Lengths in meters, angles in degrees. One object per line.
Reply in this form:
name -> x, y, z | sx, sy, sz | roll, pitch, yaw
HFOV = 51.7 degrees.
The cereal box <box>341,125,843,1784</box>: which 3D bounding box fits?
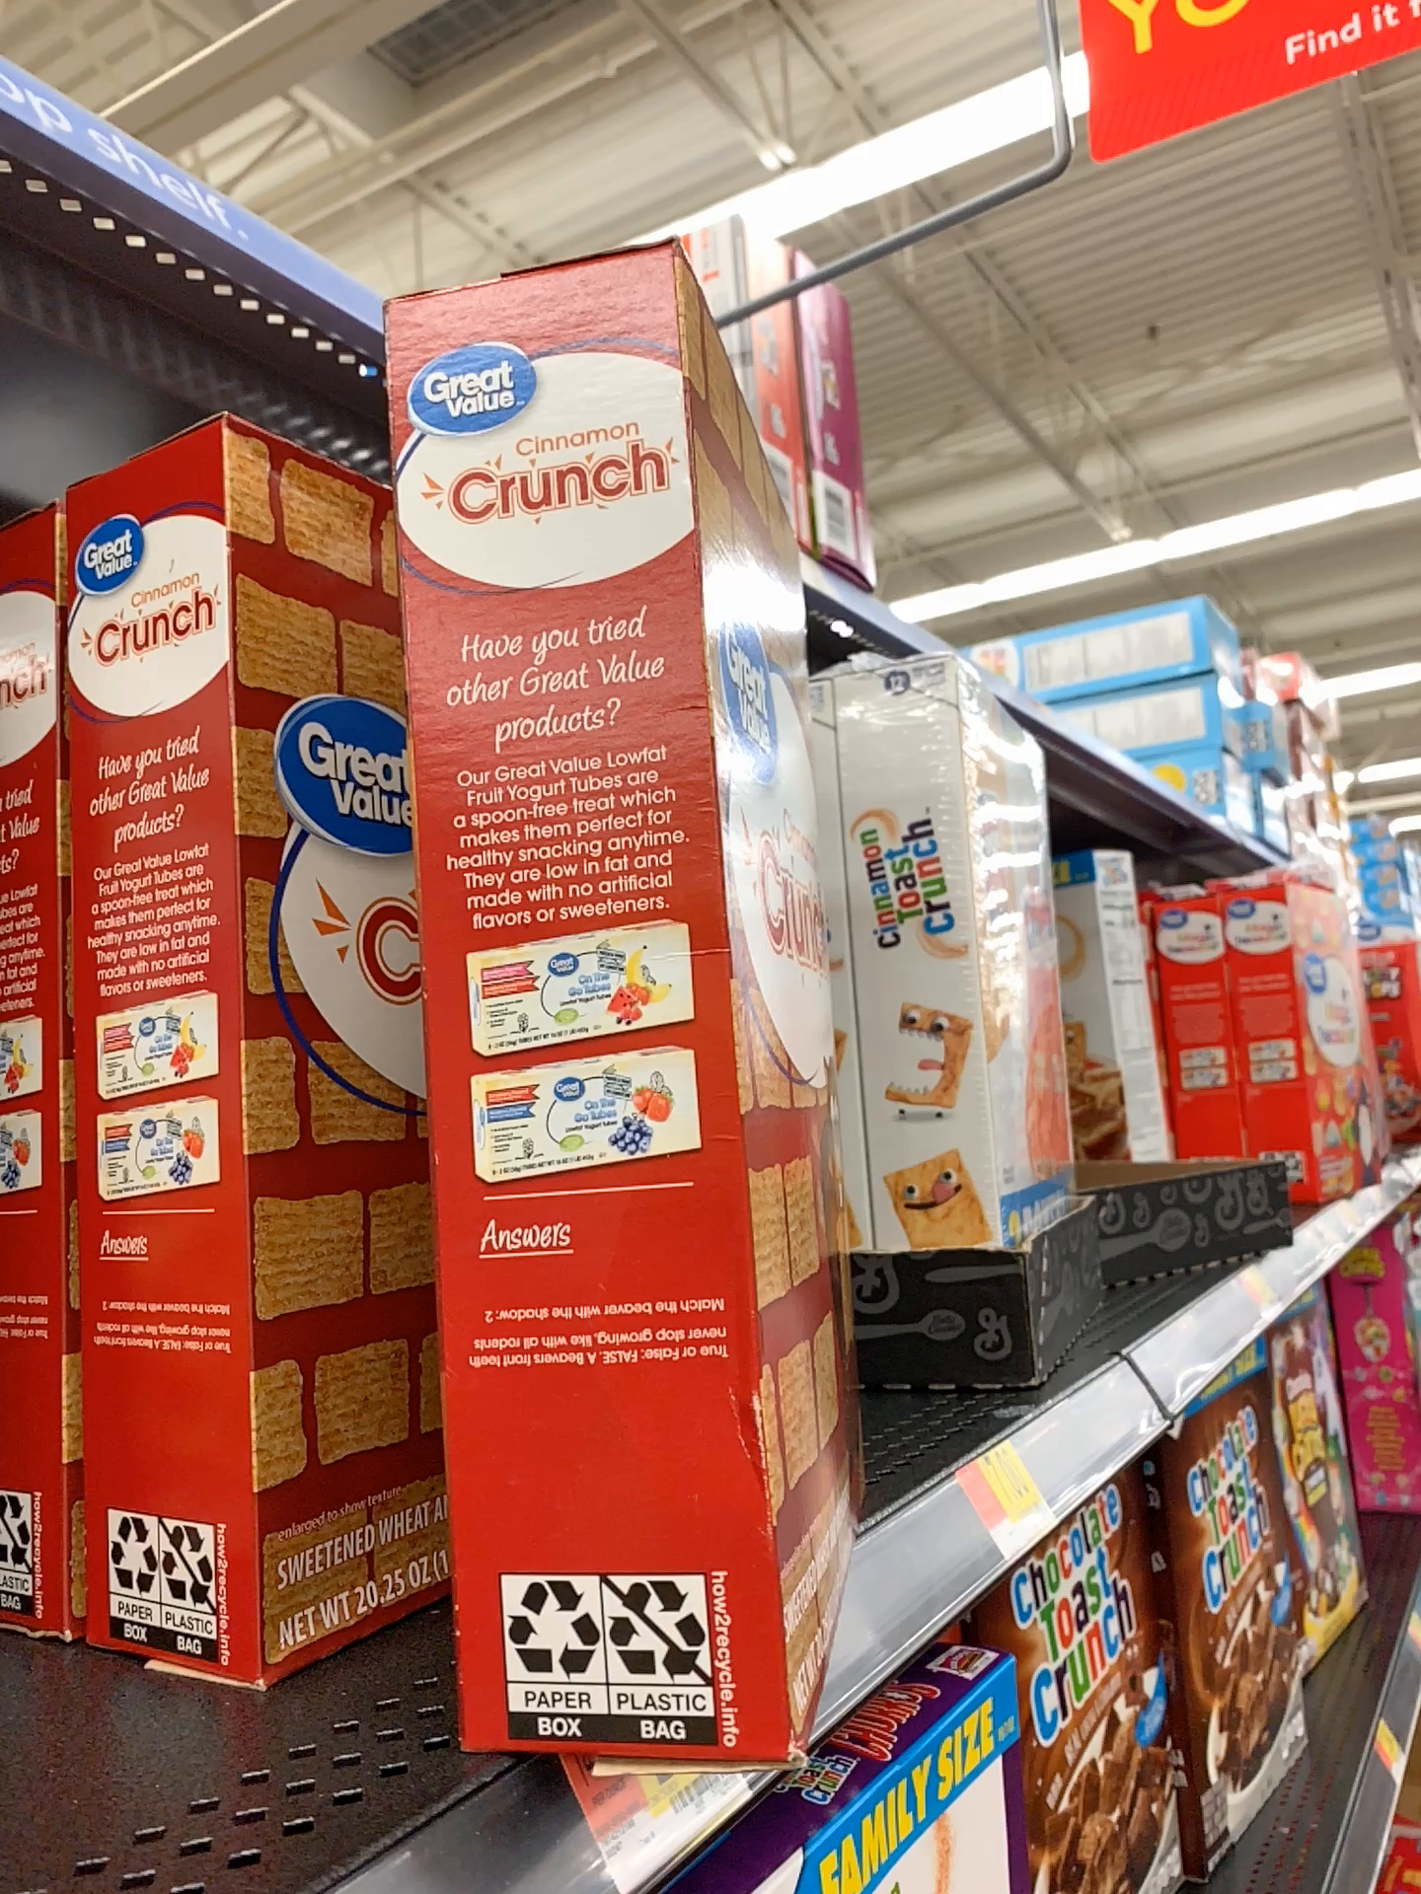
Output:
cereal box -> -0.020, 0.002, 0.388 | 0.070, 0.331, 0.190 | -6, -8, 7
